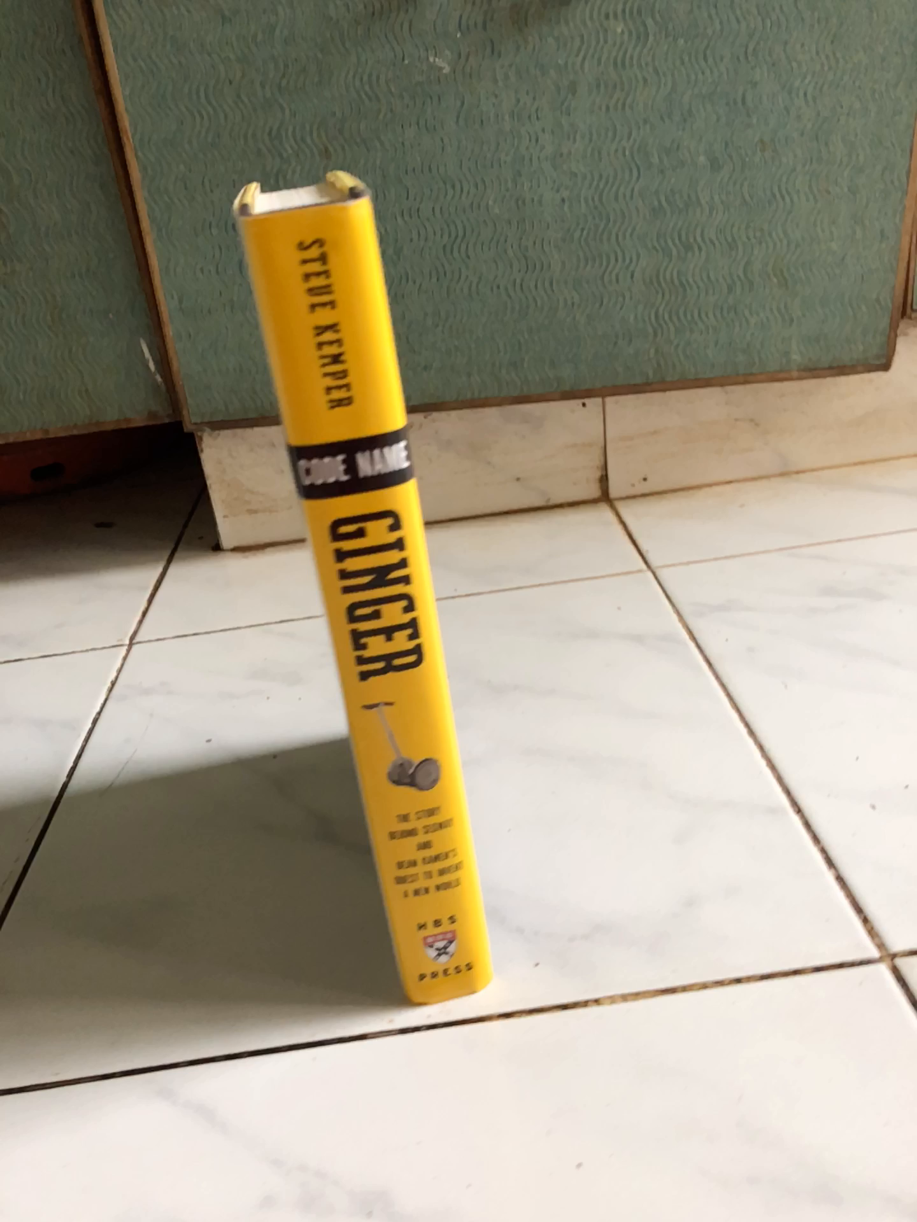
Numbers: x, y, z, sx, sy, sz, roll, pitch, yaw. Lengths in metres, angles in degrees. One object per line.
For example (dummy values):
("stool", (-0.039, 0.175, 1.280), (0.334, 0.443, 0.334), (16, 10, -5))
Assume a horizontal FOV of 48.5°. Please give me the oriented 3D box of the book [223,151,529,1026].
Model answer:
("book", (-0.028, -0.022, 0.349), (0.040, 0.239, 0.191), (-11, 26, -5))
